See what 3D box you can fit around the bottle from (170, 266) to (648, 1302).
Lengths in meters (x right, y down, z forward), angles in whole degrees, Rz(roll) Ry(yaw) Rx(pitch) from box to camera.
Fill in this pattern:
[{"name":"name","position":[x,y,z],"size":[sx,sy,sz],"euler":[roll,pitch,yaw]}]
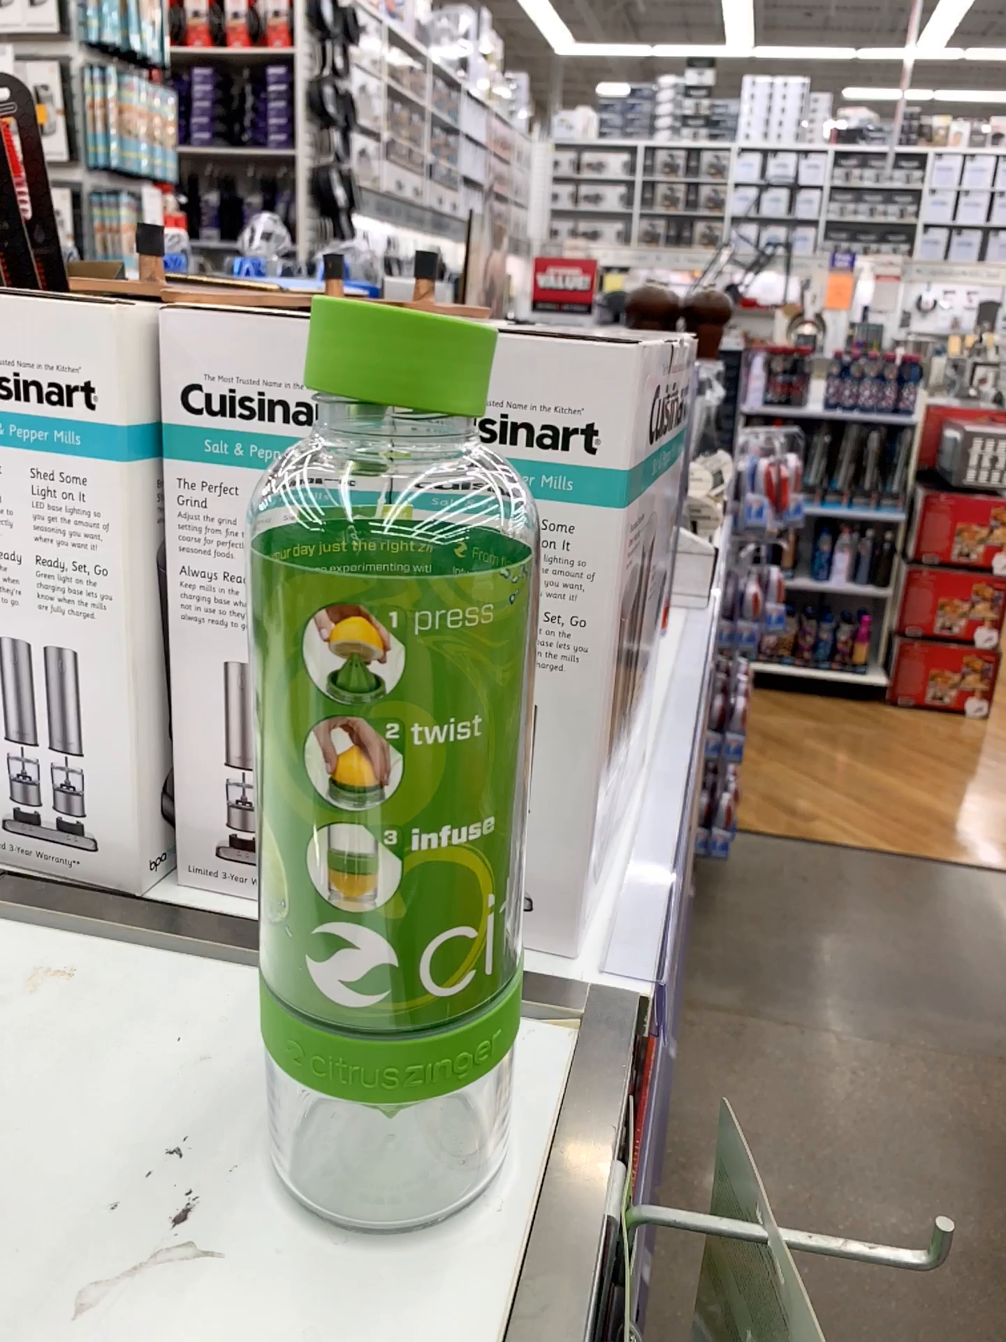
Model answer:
[{"name":"bottle","position":[-0.029,0.027,0.283],"size":[0.078,0.250,0.081],"euler":[3,19,-1]}]
